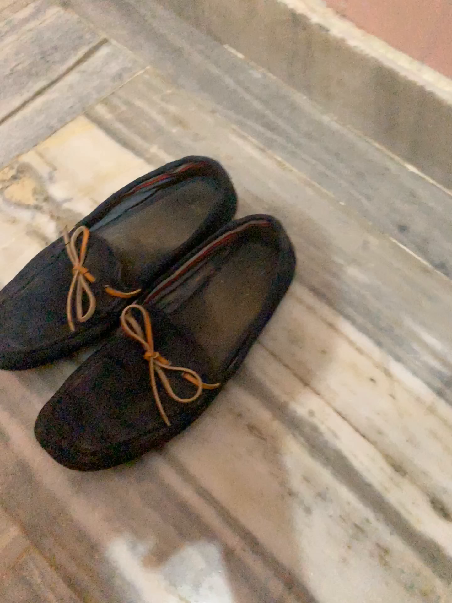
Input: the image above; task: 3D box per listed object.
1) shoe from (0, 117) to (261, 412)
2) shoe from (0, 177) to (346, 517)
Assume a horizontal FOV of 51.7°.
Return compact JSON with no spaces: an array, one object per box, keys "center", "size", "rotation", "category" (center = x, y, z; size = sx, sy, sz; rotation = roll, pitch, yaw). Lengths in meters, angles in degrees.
[{"center":[-0.112,-0.043,0.441],"size":[0.279,0.070,0.120],"rotation":[-40,74,-18],"category":"shoe"},{"center":[-0.039,0.030,0.425],"size":[0.120,0.070,0.299],"rotation":[41,71,14],"category":"shoe"}]
